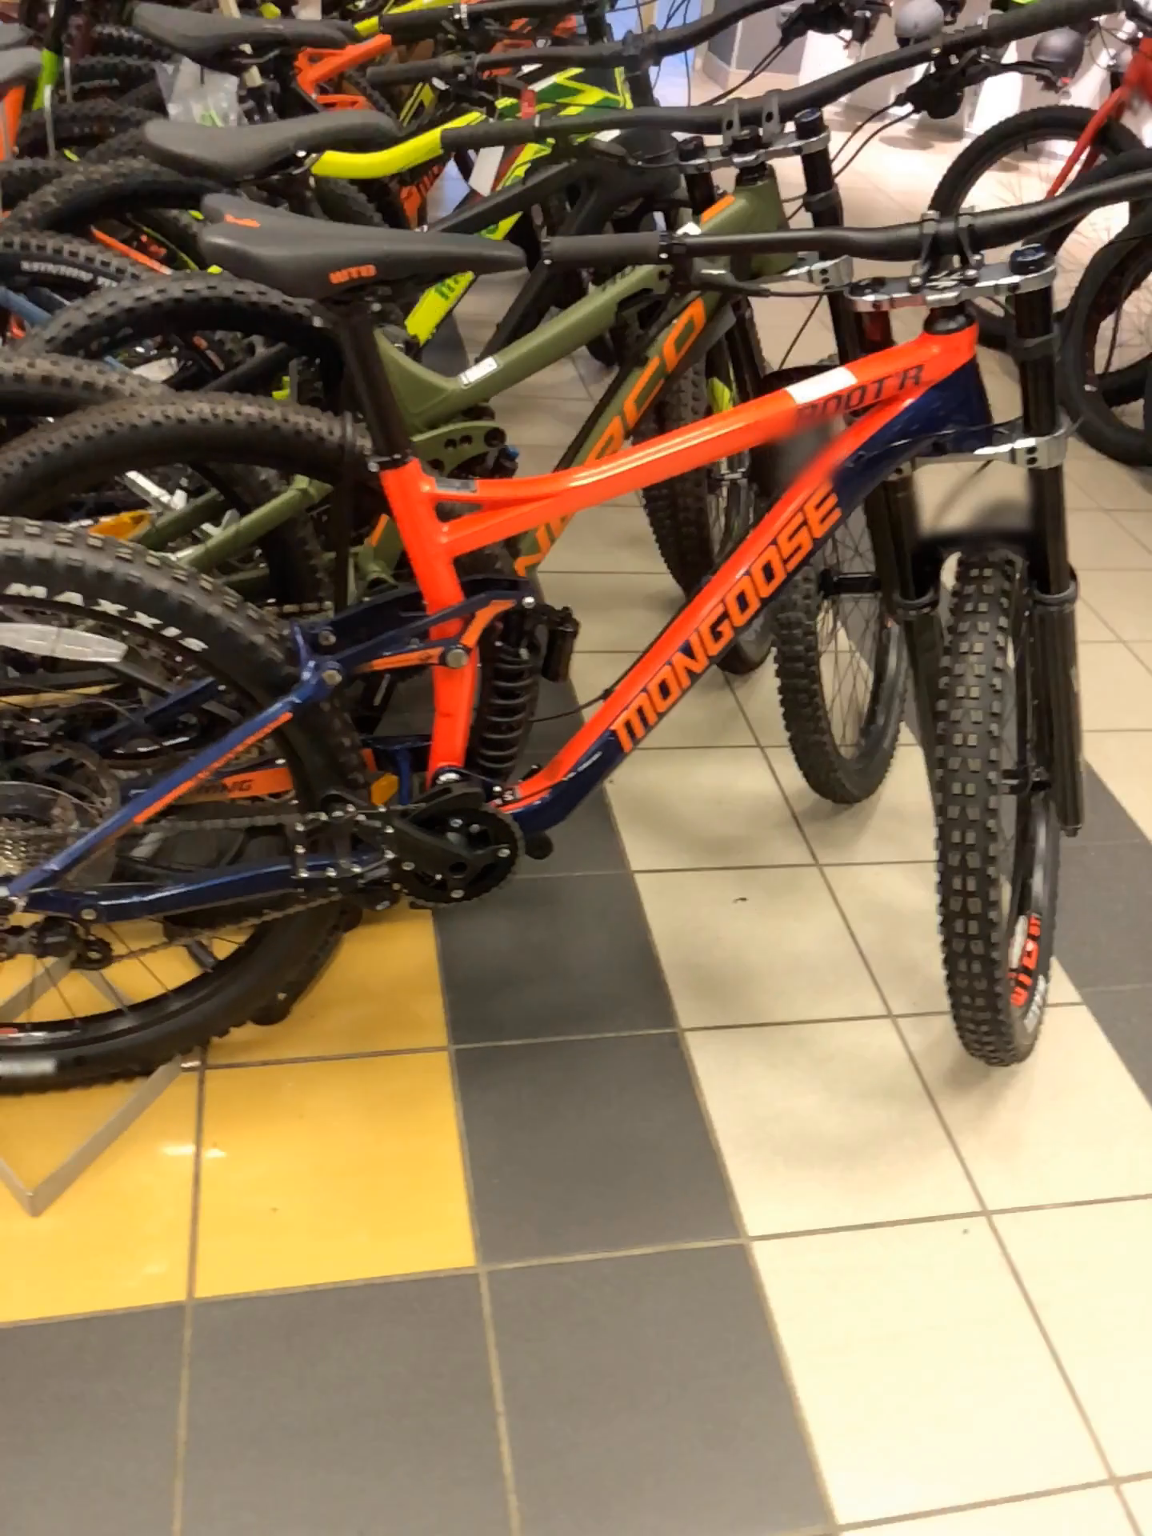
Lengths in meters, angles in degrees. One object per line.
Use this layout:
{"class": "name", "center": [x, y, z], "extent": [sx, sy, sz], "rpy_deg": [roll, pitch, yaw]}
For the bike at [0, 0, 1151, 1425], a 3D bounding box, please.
{"class": "bike", "center": [-0.094, -0.298, 1.400], "extent": [1.700, 1.108, 0.804], "rpy_deg": [-11, 40, -21]}
